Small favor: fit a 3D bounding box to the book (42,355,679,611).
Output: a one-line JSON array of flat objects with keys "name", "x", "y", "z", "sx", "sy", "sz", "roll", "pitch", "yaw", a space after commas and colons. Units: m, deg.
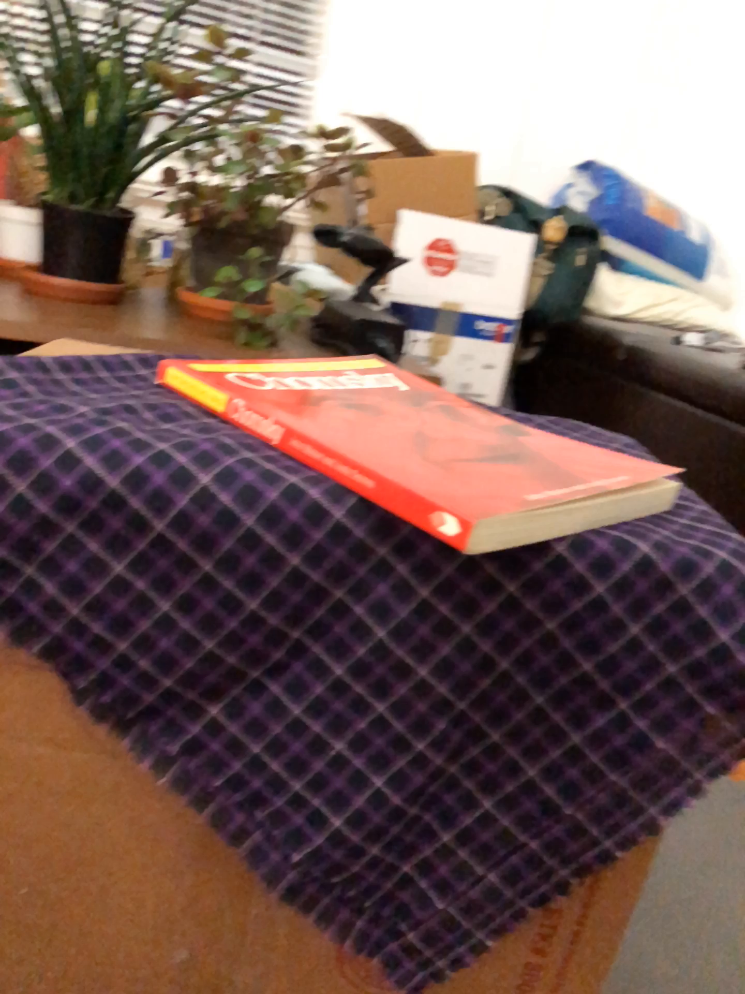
[{"name": "book", "x": -0.013, "y": -0.026, "z": 0.379, "sx": 0.180, "sy": 0.020, "sz": 0.240, "roll": -8, "pitch": 25, "yaw": -44}]
